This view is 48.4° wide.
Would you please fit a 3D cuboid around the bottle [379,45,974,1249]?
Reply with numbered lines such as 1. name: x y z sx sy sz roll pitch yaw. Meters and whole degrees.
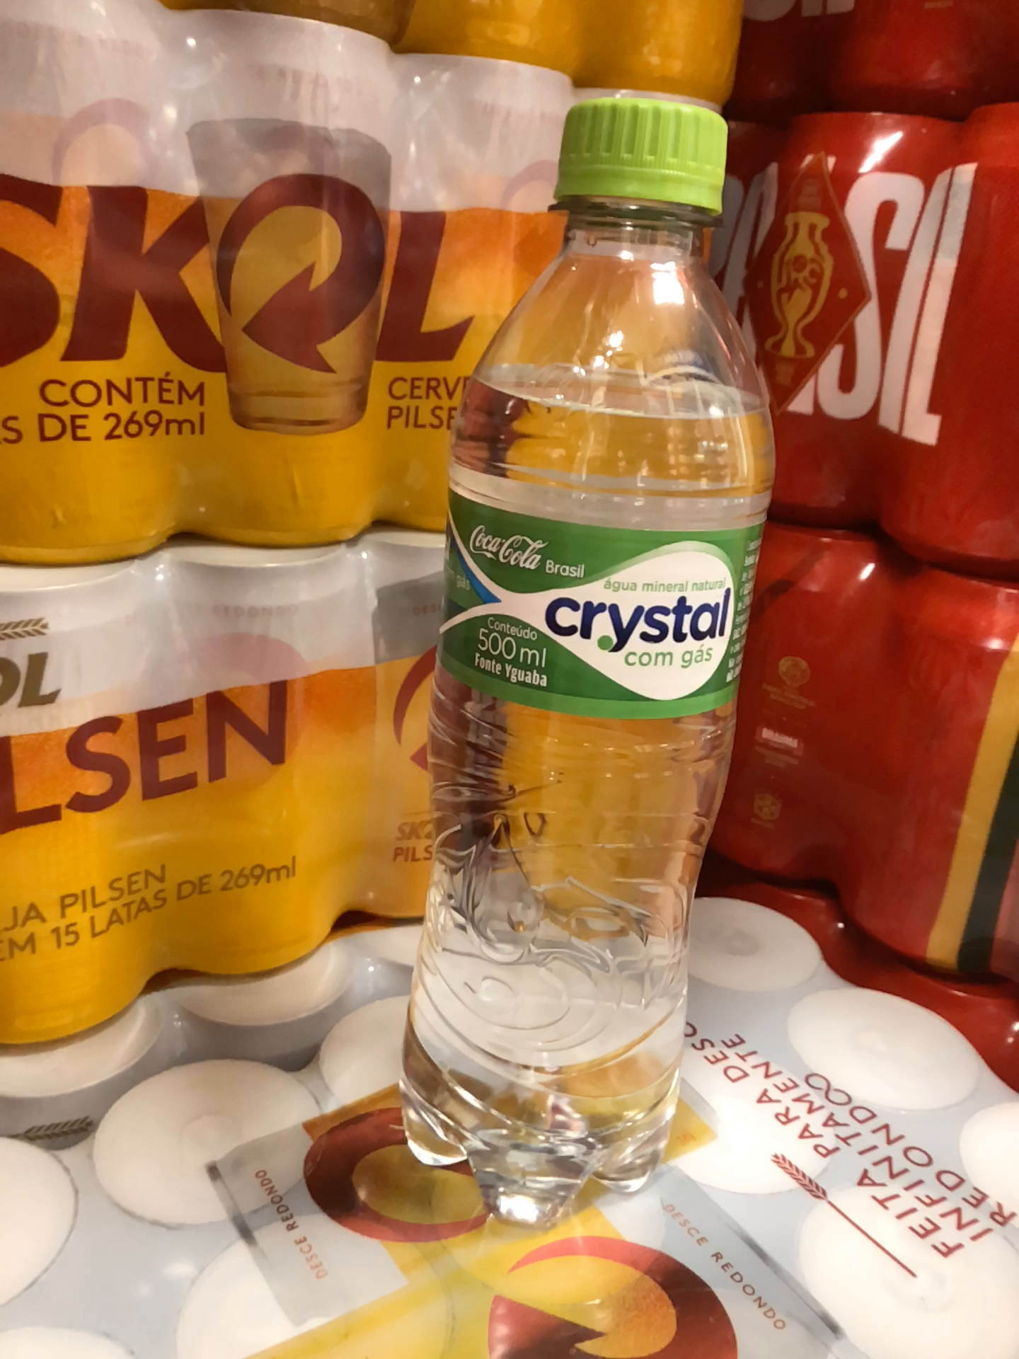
1. bottle: 0.019 0.003 0.229 0.070 0.219 0.060 -1 23 -16
